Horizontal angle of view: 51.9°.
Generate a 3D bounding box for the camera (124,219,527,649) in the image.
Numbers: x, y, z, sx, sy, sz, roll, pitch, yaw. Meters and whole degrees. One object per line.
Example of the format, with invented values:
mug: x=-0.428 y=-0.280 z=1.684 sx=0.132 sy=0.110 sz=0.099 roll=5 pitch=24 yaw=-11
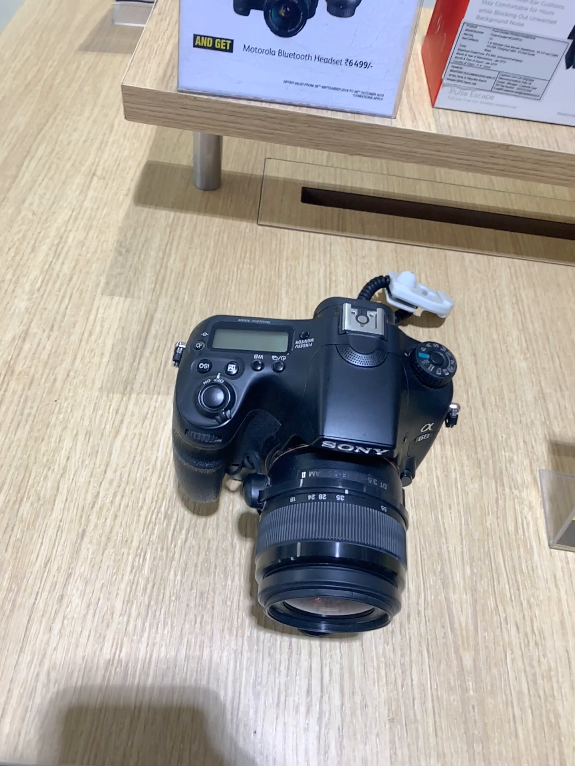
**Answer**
camera: x=0.016 y=0.021 z=0.289 sx=0.140 sy=0.090 sz=0.170 roll=8 pitch=54 yaw=-2
